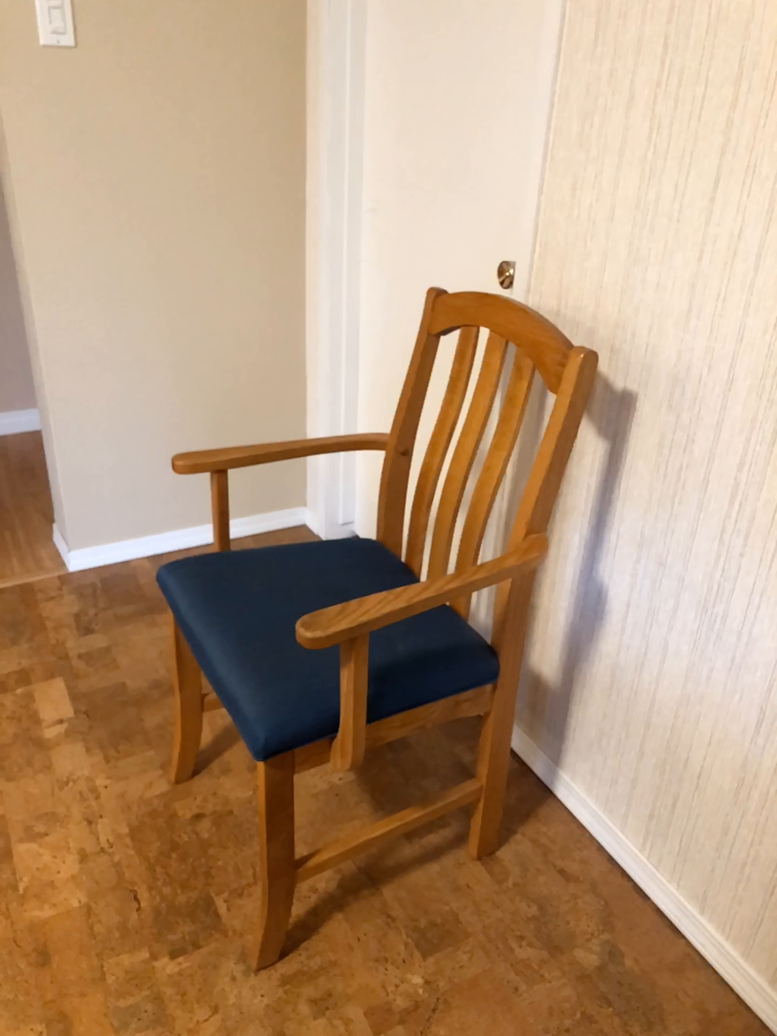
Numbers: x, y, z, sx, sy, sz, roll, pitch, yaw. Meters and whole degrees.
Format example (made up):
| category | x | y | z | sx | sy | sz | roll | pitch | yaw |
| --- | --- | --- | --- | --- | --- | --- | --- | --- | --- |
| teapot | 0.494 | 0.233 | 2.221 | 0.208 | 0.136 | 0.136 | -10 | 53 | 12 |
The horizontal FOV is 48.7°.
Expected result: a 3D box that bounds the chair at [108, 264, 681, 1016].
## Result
| category | x | y | z | sx | sy | sz | roll | pitch | yaw |
| --- | --- | --- | --- | --- | --- | --- | --- | --- | --- |
| chair | -0.036 | 0.141 | 1.392 | 0.590 | 0.936 | 0.552 | -13 | 31 | -28 |
